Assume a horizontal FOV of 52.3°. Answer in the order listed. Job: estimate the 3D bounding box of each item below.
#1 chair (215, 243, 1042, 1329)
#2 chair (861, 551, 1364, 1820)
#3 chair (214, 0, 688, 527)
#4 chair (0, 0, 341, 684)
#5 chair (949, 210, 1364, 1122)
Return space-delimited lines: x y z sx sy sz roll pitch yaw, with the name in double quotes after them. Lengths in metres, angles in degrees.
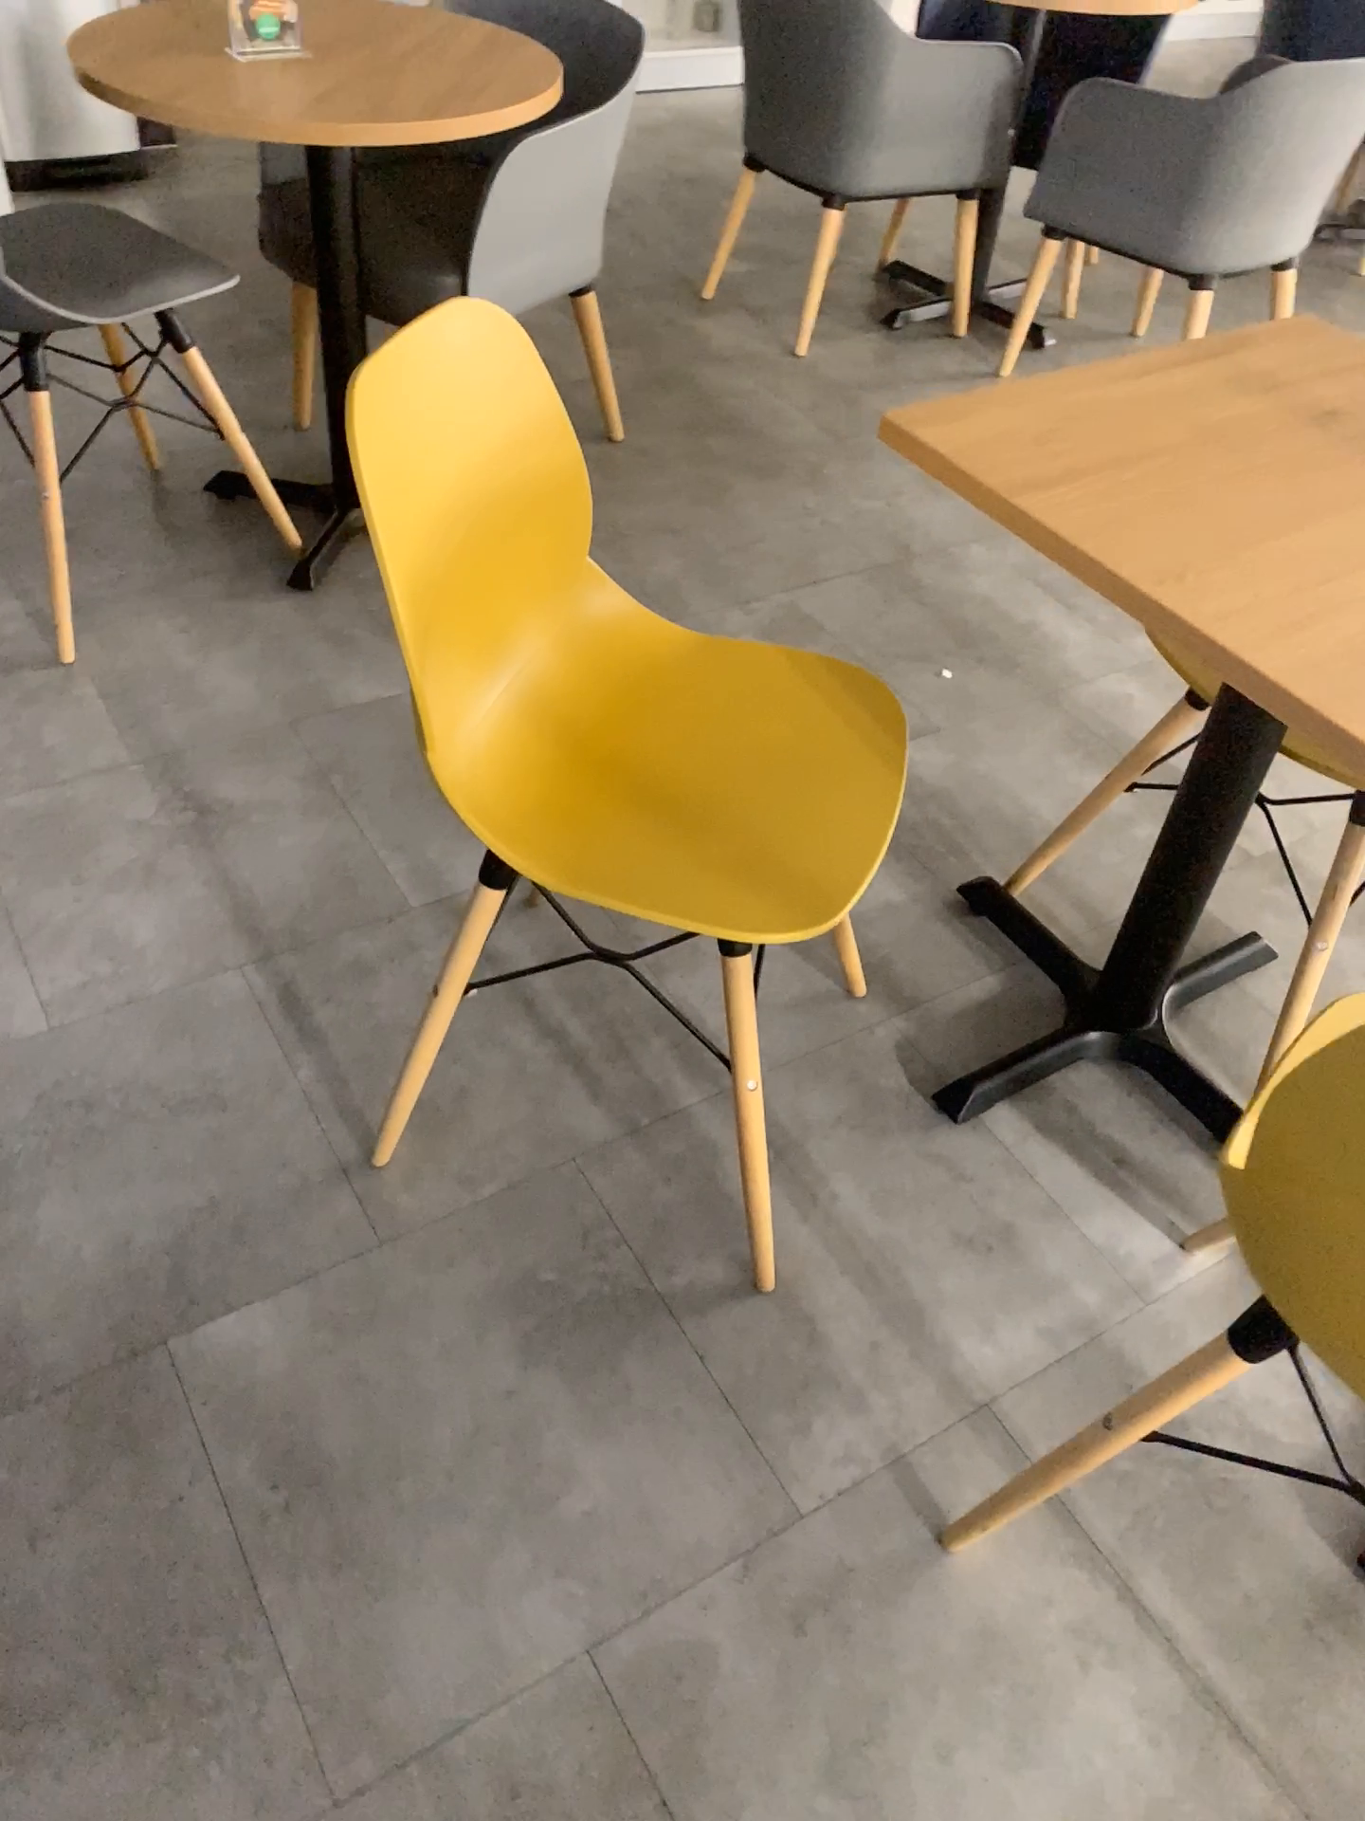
-0.030 -0.104 1.332 0.492 0.786 0.521 15 44 10 "chair"
0.538 0.271 0.984 0.494 0.776 0.499 -31 55 -33 "chair"
-0.392 -1.222 2.499 0.548 0.756 0.525 28 47 22 "chair"
-0.889 -0.854 1.980 0.499 0.776 0.525 33 49 26 "chair"
0.732 -0.274 1.574 0.493 0.776 0.500 -21 50 -27 "chair"
